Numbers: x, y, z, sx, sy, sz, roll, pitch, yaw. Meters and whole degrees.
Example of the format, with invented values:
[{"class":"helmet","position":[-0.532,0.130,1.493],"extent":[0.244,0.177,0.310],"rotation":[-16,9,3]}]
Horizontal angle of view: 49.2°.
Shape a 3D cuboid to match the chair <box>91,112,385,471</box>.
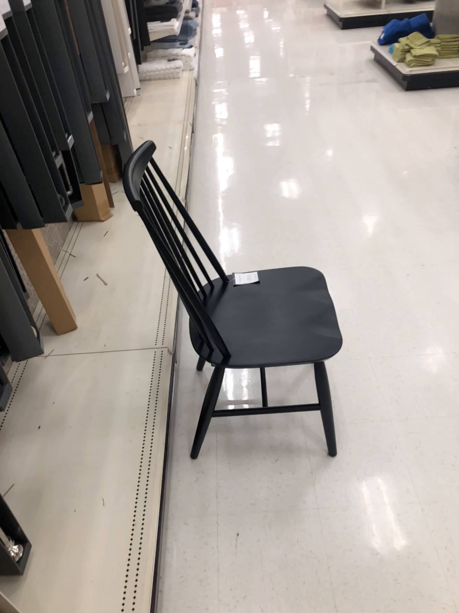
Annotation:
[{"class":"chair","position":[0.040,-0.017,1.518],"extent":[0.608,0.909,0.520],"rotation":[-4,38,1]}]
